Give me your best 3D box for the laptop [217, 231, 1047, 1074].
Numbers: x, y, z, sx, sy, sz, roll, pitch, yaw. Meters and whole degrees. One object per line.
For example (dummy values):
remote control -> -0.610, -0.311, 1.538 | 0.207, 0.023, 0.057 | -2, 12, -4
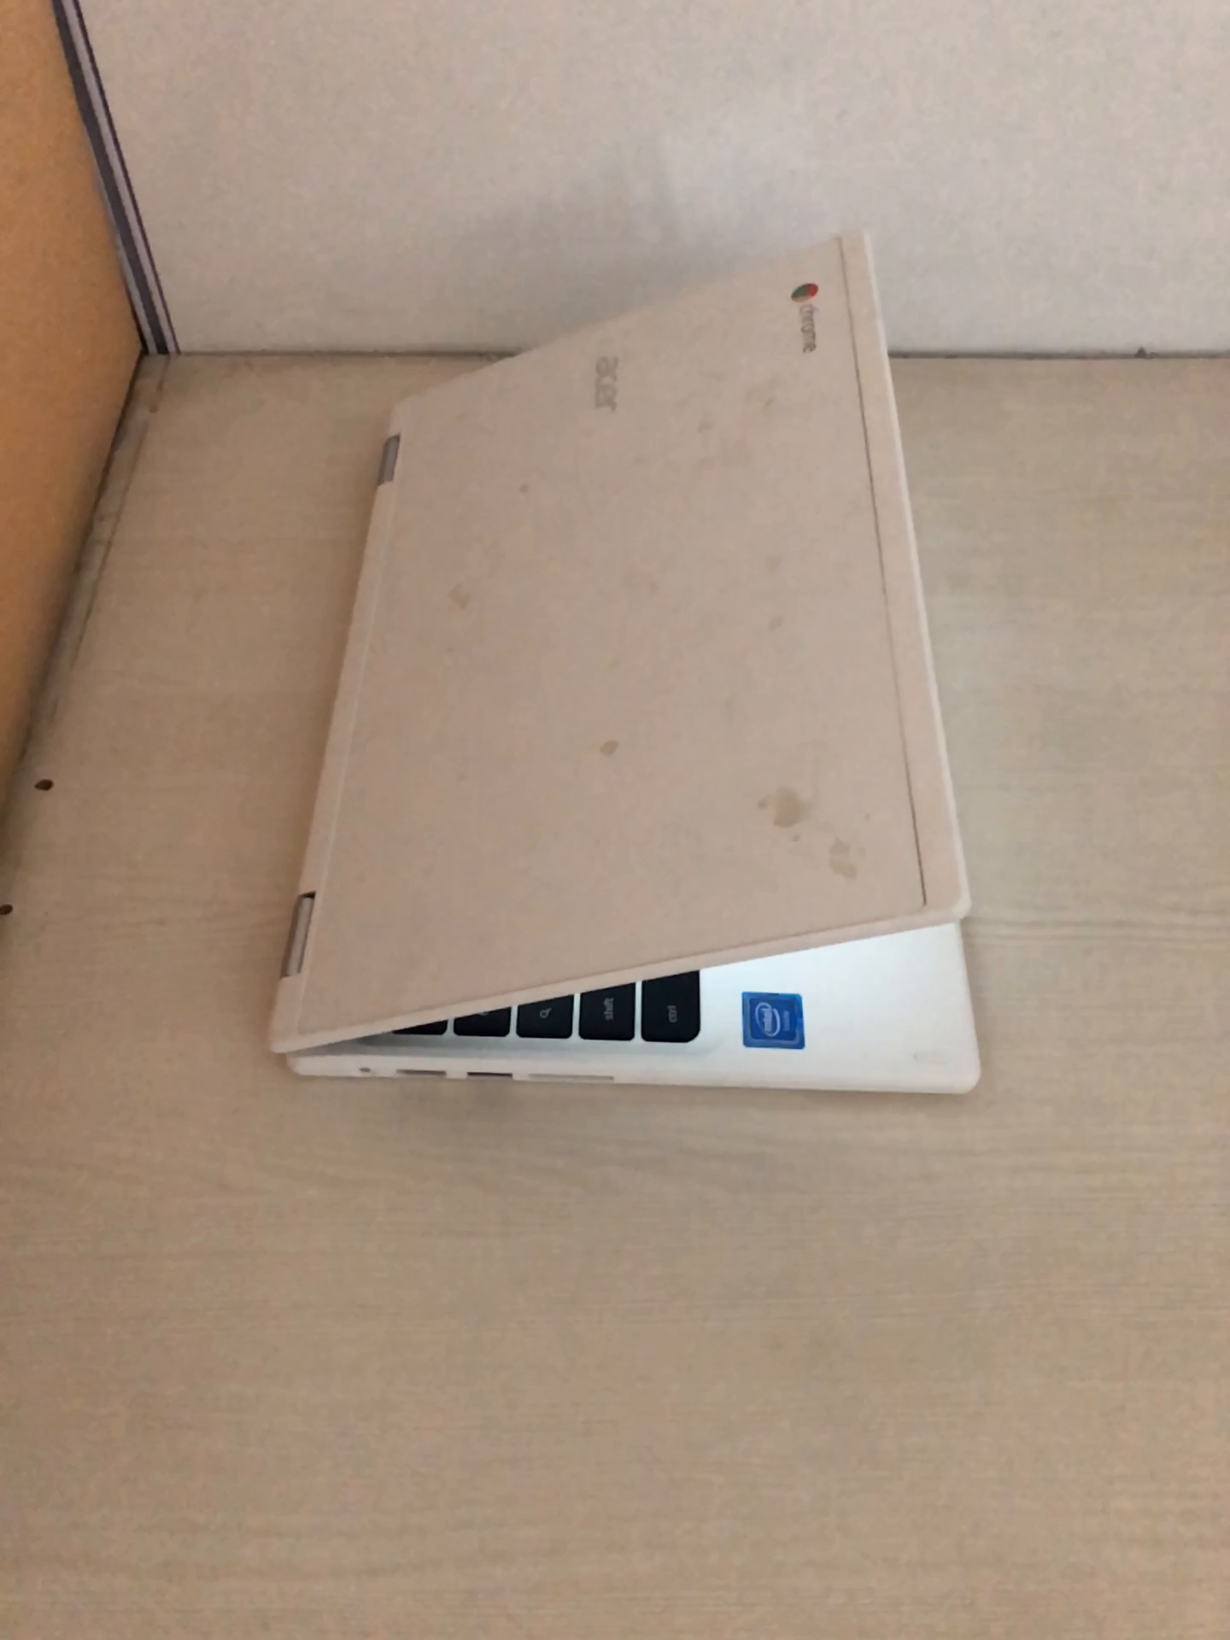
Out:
laptop -> 0.007, -0.070, 0.447 | 0.200, 0.092, 0.284 | 1, 54, 2
